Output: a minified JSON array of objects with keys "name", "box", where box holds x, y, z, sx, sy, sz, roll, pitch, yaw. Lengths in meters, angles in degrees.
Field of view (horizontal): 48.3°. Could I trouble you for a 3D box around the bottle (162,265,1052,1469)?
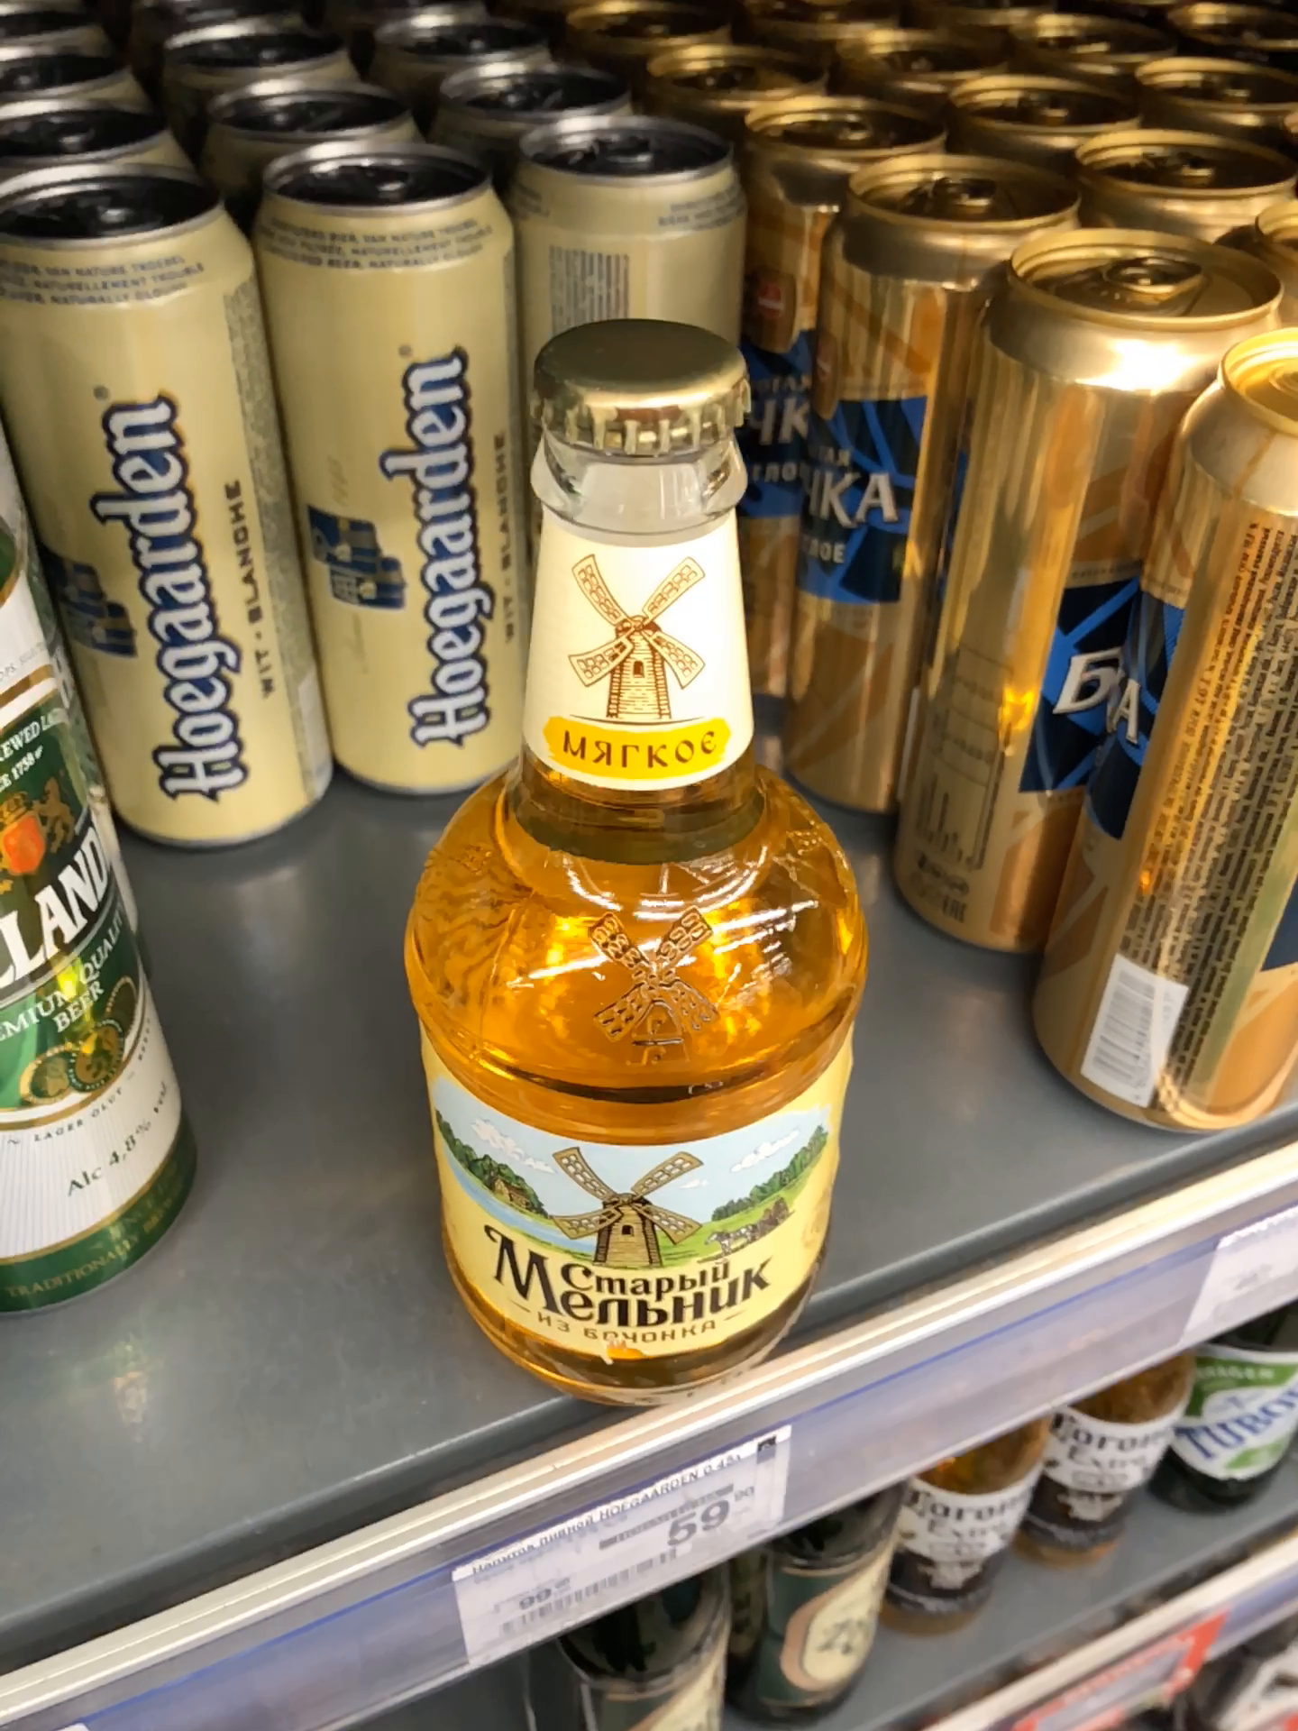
[{"name":"bottle","box":[-0.007,0.013,0.240,0.090,0.192,0.080,-1,41,-2]}]
